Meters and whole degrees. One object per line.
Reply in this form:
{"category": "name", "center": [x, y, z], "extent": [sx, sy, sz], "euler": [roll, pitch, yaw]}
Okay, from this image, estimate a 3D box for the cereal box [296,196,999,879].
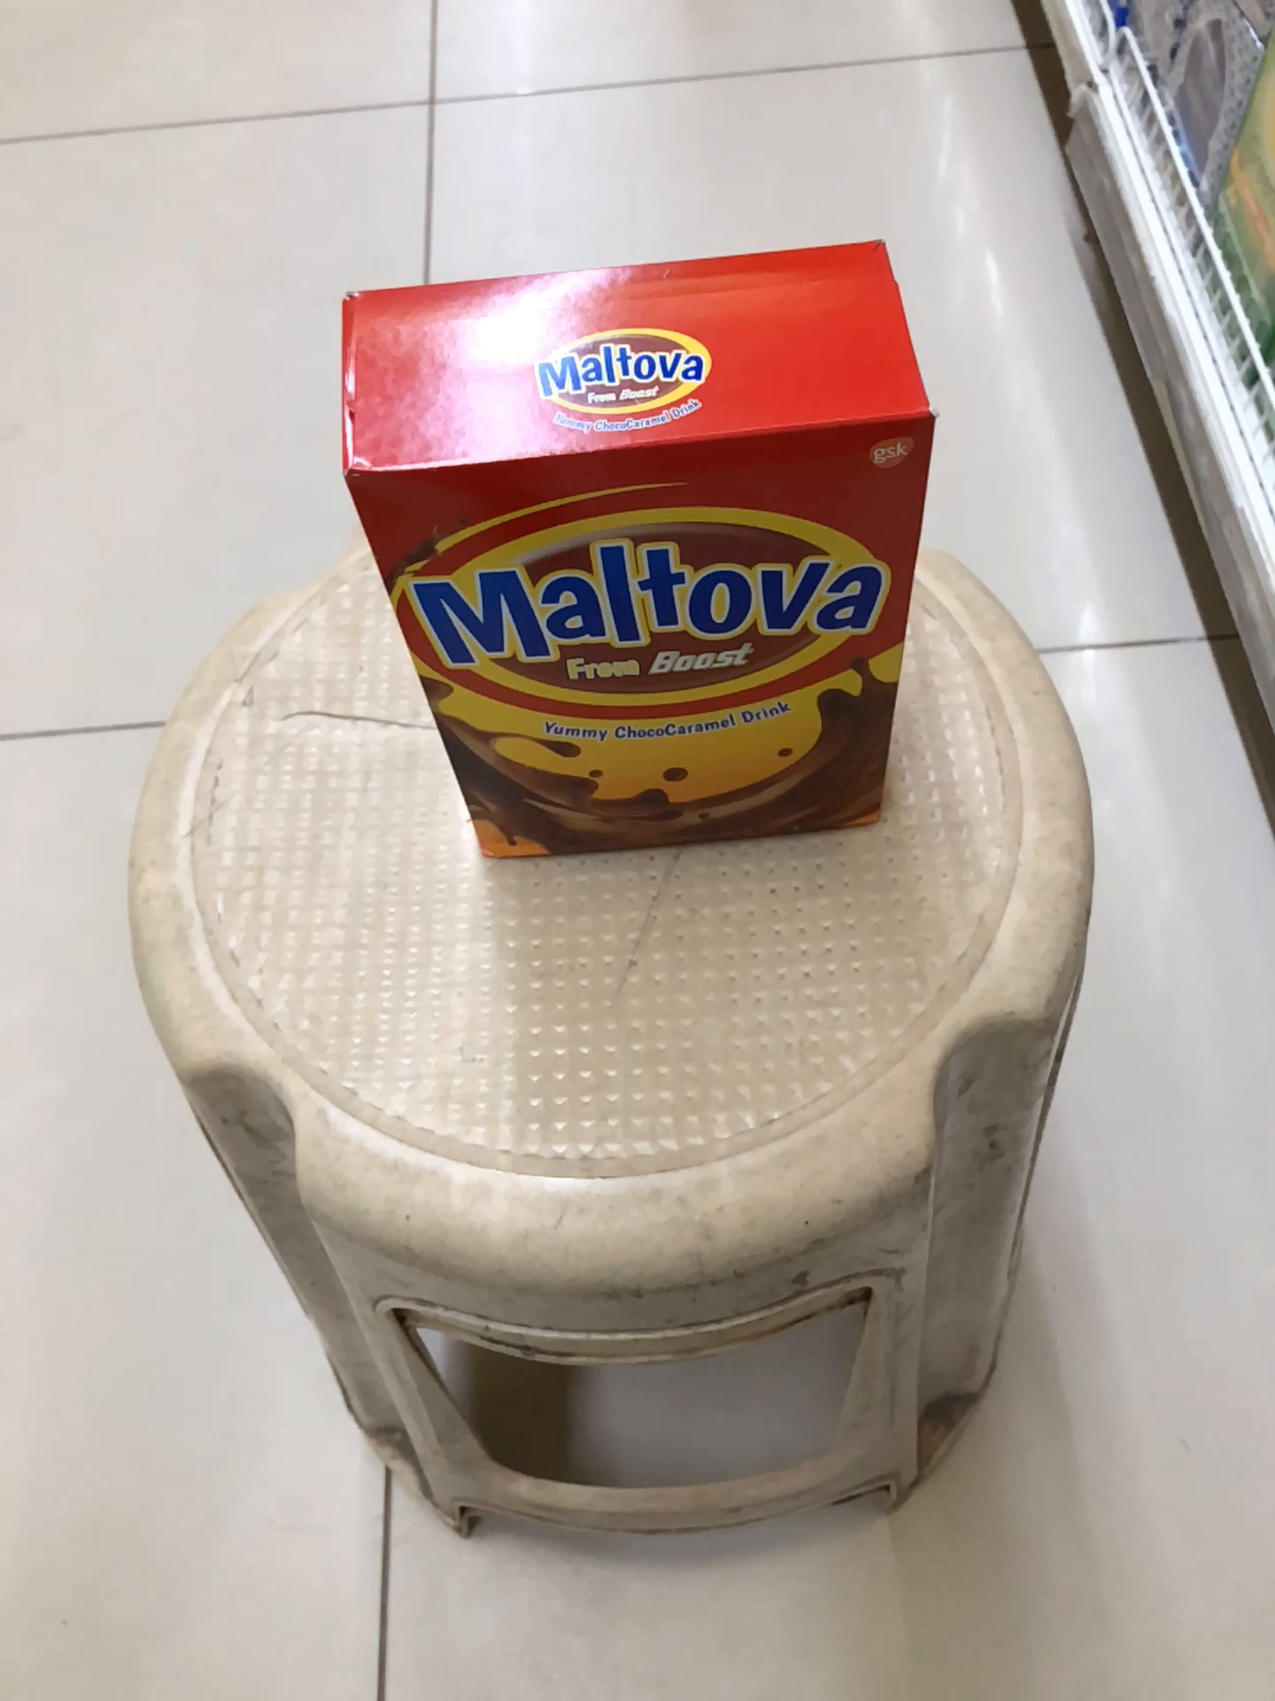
{"category": "cereal box", "center": [0.005, -0.073, 0.395], "extent": [0.150, 0.179, 0.070], "euler": [-5, 59, 1]}
